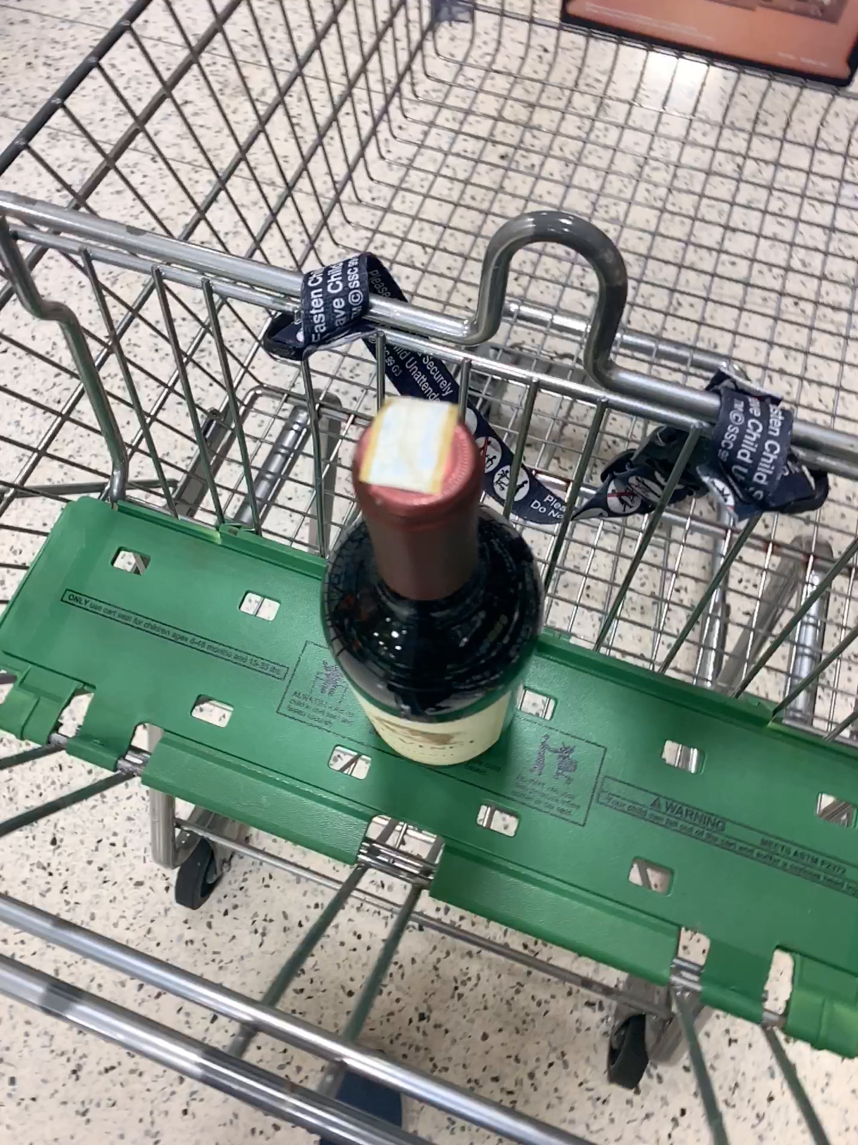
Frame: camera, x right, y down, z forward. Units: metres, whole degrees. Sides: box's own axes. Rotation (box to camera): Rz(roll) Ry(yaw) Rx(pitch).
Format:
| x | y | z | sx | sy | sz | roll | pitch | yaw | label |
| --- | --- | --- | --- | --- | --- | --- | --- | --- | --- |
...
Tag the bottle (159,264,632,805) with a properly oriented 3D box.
| x | y | z | sx | sy | sz | roll | pitch | yaw | label |
| --- | --- | --- | --- | --- | --- | --- | --- | --- | --- |
| 0.000 | 0.020 | 0.313 | 0.080 | 0.269 | 0.080 | -1 | 70 | 2 | bottle |
